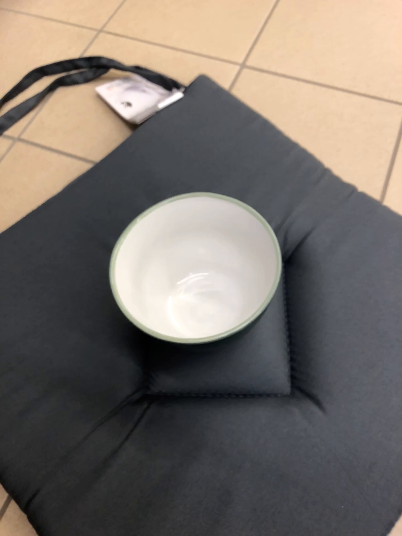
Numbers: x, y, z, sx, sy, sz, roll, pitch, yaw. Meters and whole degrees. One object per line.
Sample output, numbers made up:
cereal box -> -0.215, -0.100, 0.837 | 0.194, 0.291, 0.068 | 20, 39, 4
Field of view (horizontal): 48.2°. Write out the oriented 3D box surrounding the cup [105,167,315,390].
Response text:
cup -> 0.001, 0.006, 0.321 | 0.120, 0.060, 0.130 | -1, 62, 2
